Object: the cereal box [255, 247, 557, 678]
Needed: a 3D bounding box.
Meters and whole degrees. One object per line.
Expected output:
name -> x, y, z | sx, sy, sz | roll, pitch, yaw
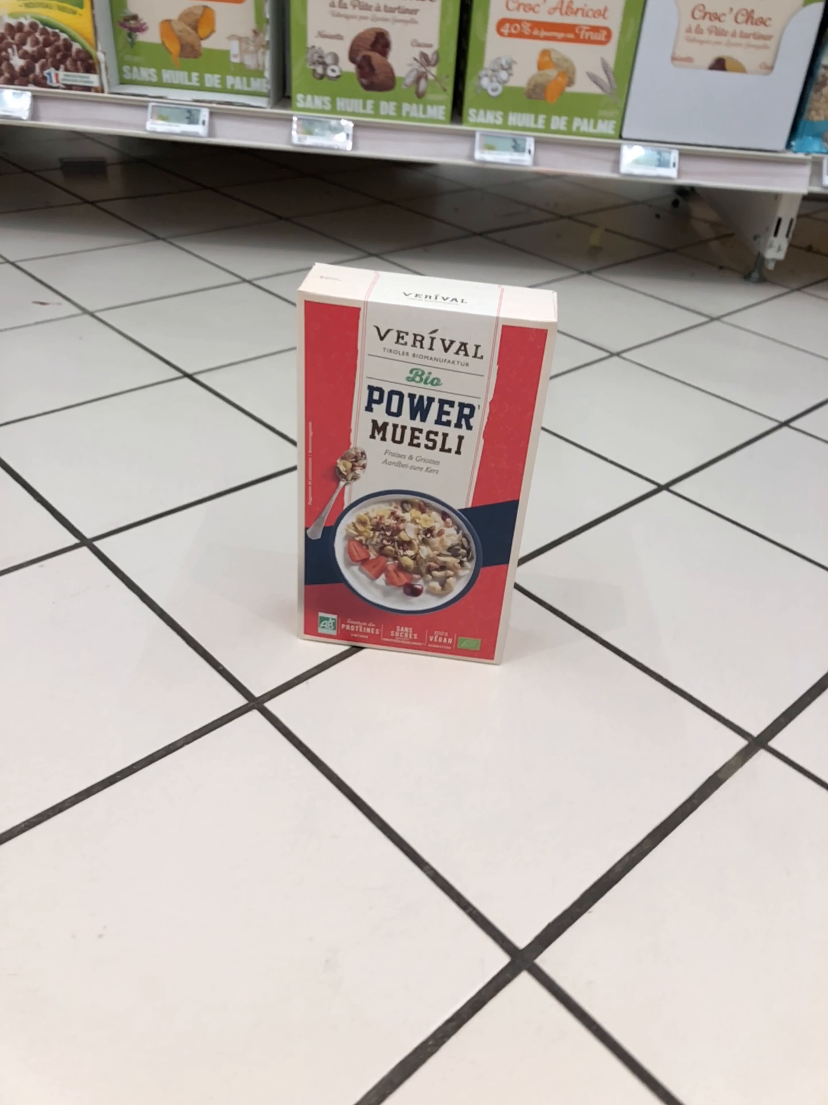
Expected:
cereal box -> -0.009, -0.041, 0.498 | 0.140, 0.219, 0.050 | 8, 33, 4
